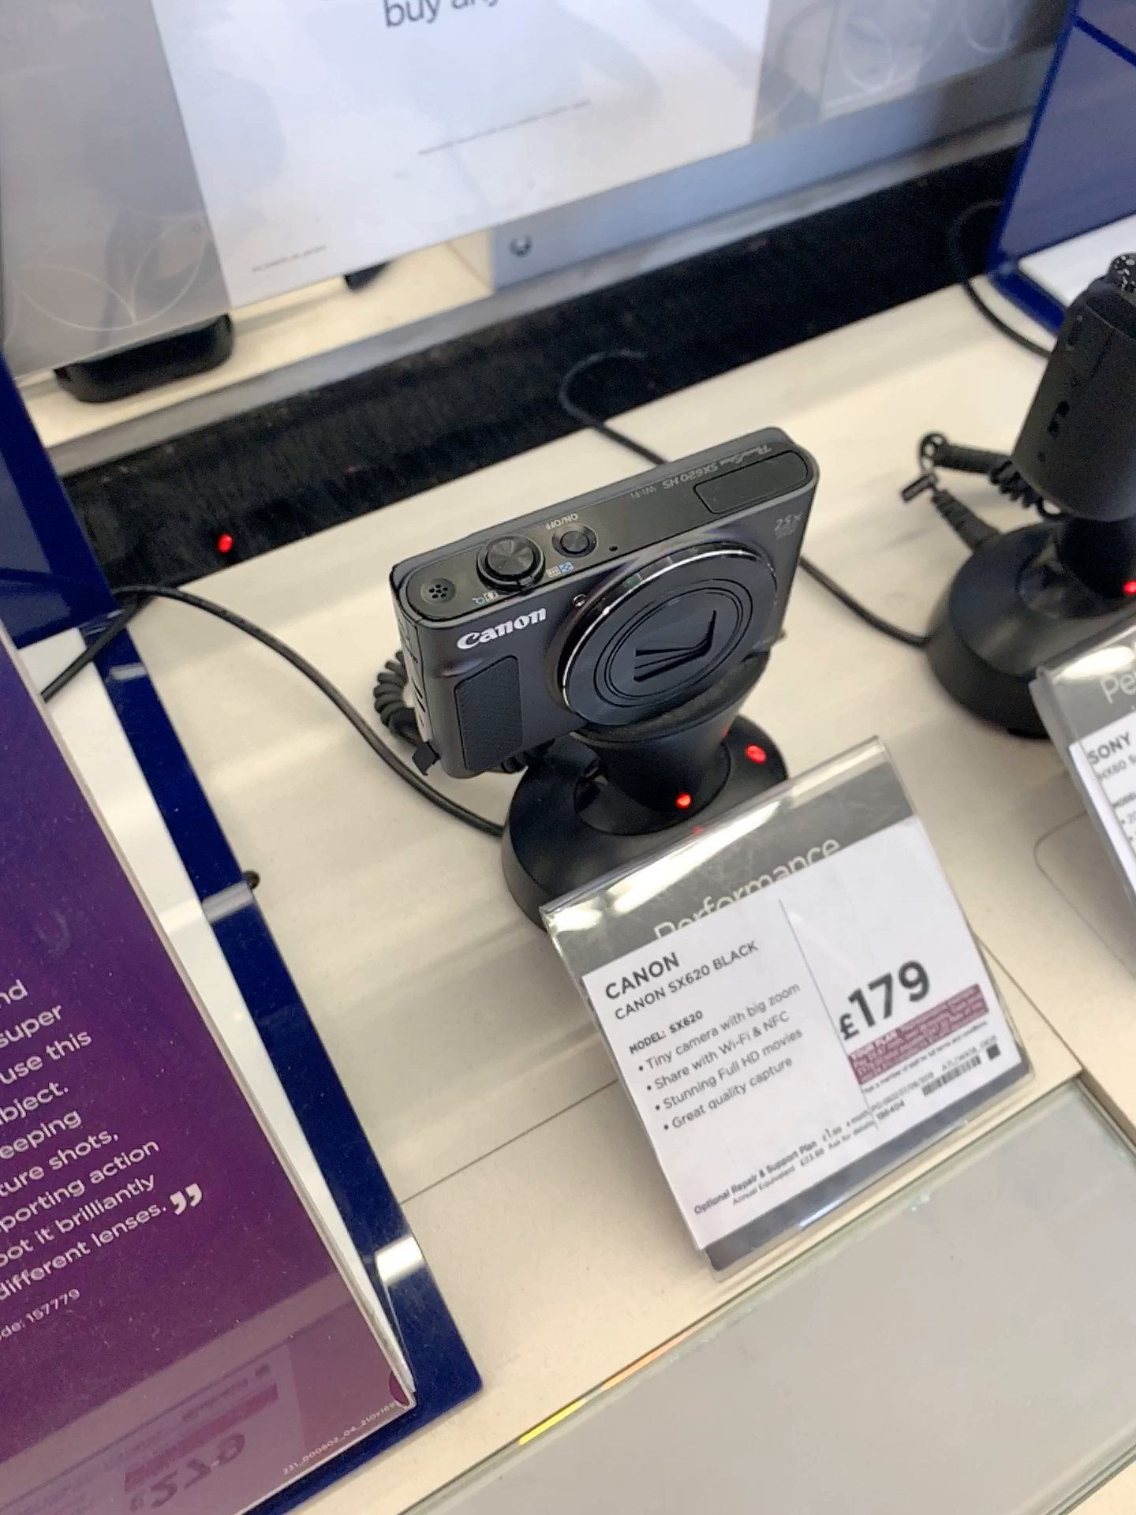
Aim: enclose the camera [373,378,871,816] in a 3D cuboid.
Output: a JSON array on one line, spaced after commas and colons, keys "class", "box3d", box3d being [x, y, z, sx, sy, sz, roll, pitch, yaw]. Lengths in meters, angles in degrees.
[{"class": "camera", "box3d": [0.011, -0.032, 0.246, 0.090, 0.060, 0.030, -23, 59, -15]}]
